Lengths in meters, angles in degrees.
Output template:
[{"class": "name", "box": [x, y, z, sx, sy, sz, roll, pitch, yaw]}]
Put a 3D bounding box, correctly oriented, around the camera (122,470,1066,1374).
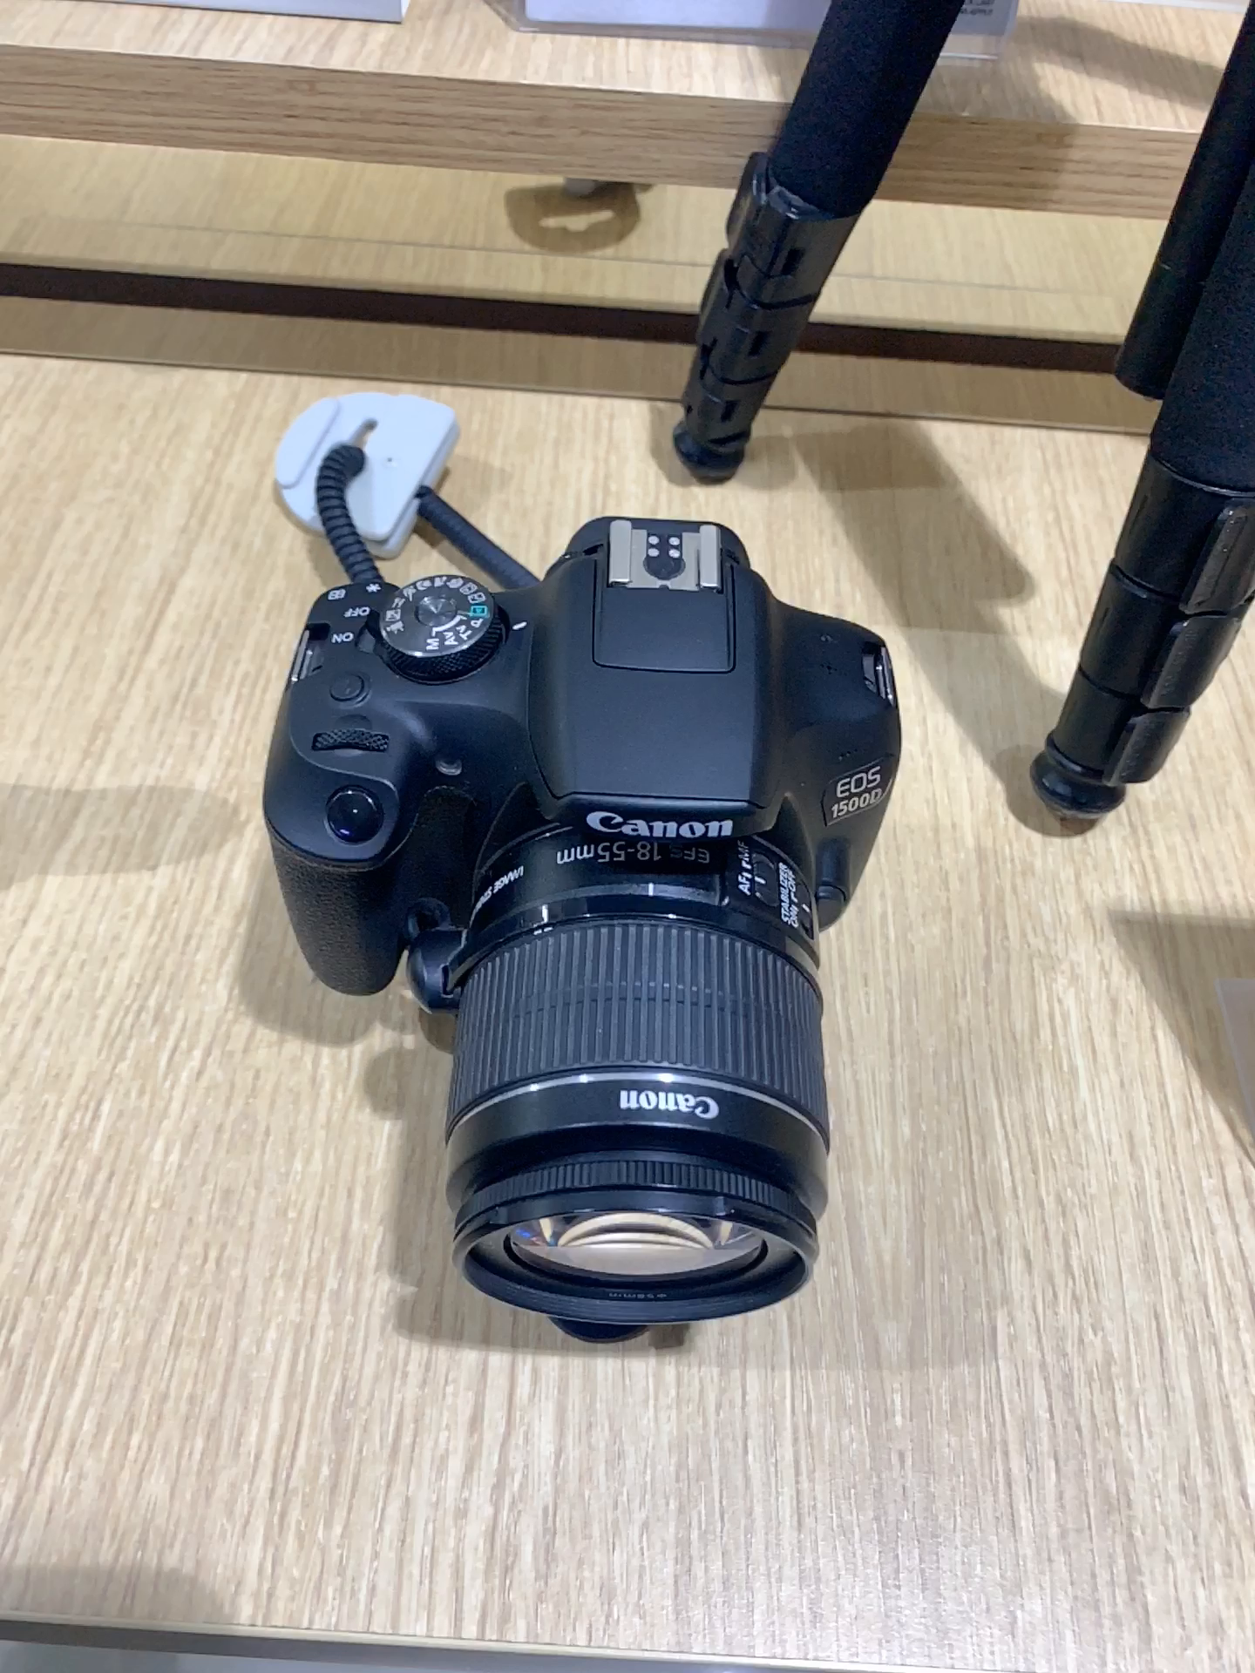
[{"class": "camera", "box": [-0.005, 0.014, 0.244, 0.121, 0.088, 0.140, 2, 52, -2]}]
